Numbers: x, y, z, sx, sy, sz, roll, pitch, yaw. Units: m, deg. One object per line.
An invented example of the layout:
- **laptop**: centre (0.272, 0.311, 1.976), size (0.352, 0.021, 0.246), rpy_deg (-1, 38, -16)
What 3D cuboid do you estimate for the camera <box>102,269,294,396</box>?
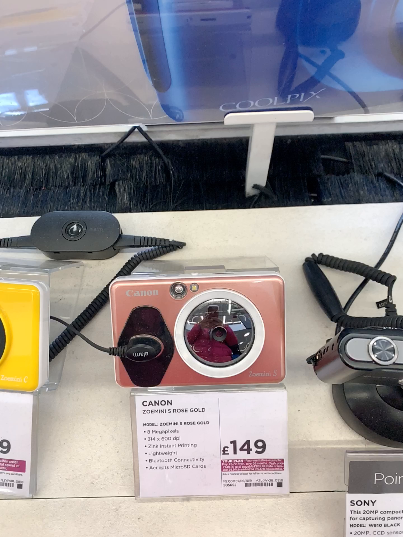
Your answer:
- **camera**: centre (-0.001, 0.045, 0.294), size (0.129, 0.020, 0.083), rpy_deg (-2, 98, 1)
